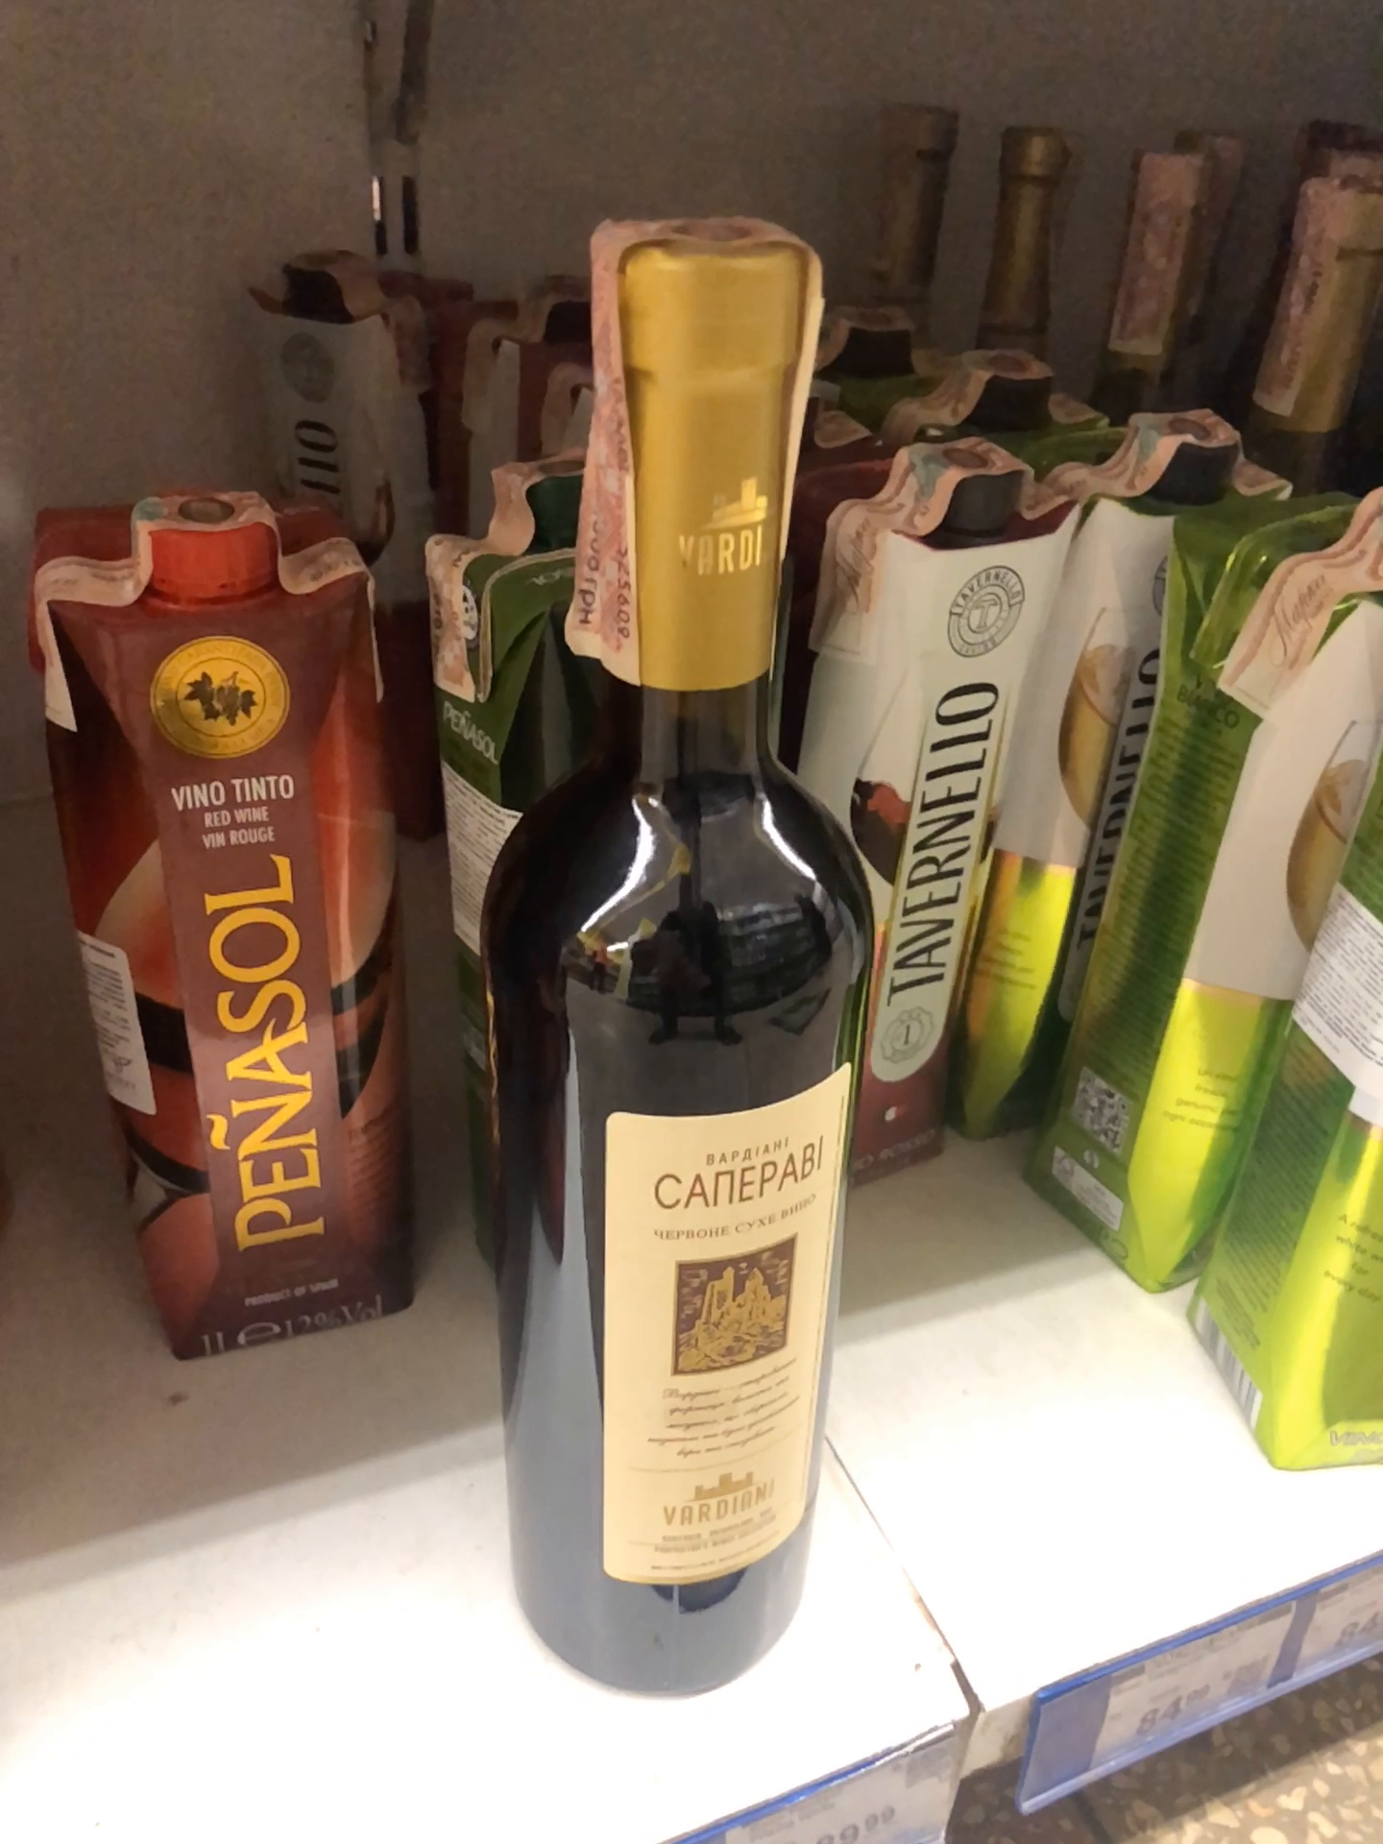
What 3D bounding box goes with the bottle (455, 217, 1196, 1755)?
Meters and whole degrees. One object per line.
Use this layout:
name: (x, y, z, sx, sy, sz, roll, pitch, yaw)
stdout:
bottle: (0.005, 0.029, 0.283, 0.080, 0.281, 0.070, -8, 34, -19)
